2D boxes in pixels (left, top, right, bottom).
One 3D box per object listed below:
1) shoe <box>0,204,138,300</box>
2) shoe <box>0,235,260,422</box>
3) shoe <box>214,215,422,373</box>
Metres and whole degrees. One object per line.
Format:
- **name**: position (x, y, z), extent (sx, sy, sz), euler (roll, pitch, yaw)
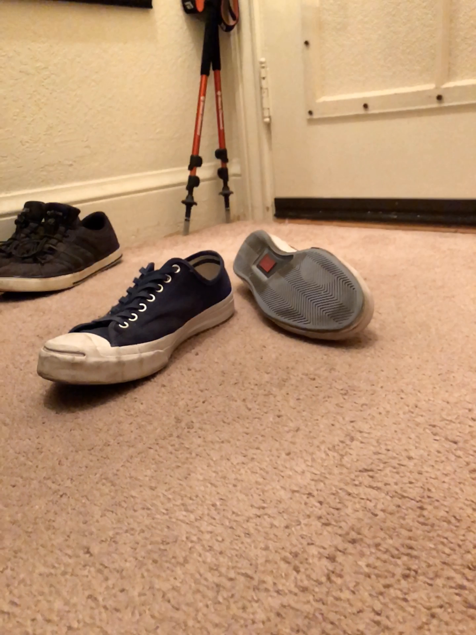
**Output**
- **shoe**: position (-0.290, -0.121, 0.885), extent (0.106, 0.099, 0.297), euler (3, 19, 17)
- **shoe**: position (-0.101, -0.010, 0.581), extent (0.116, 0.099, 0.287), euler (8, 23, 32)
- **shoe**: position (0.079, -0.045, 0.669), extent (0.099, 0.104, 0.297), euler (17, 10, -26)
